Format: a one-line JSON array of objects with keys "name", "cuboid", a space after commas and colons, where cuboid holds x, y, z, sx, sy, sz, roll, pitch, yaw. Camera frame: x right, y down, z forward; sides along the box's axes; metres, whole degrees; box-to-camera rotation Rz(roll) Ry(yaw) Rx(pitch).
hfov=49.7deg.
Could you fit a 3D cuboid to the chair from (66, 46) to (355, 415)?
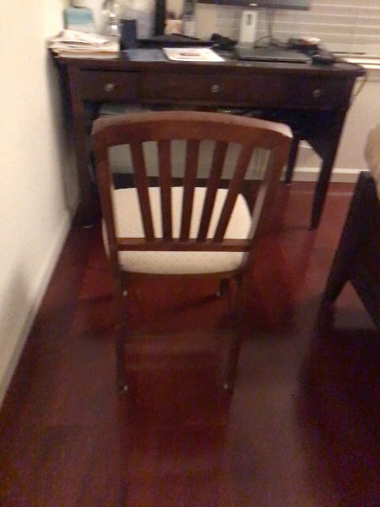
[{"name": "chair", "cuboid": [0.000, -0.088, 1.296, 0.530, 0.893, 0.725, 1, 34, -5]}]
